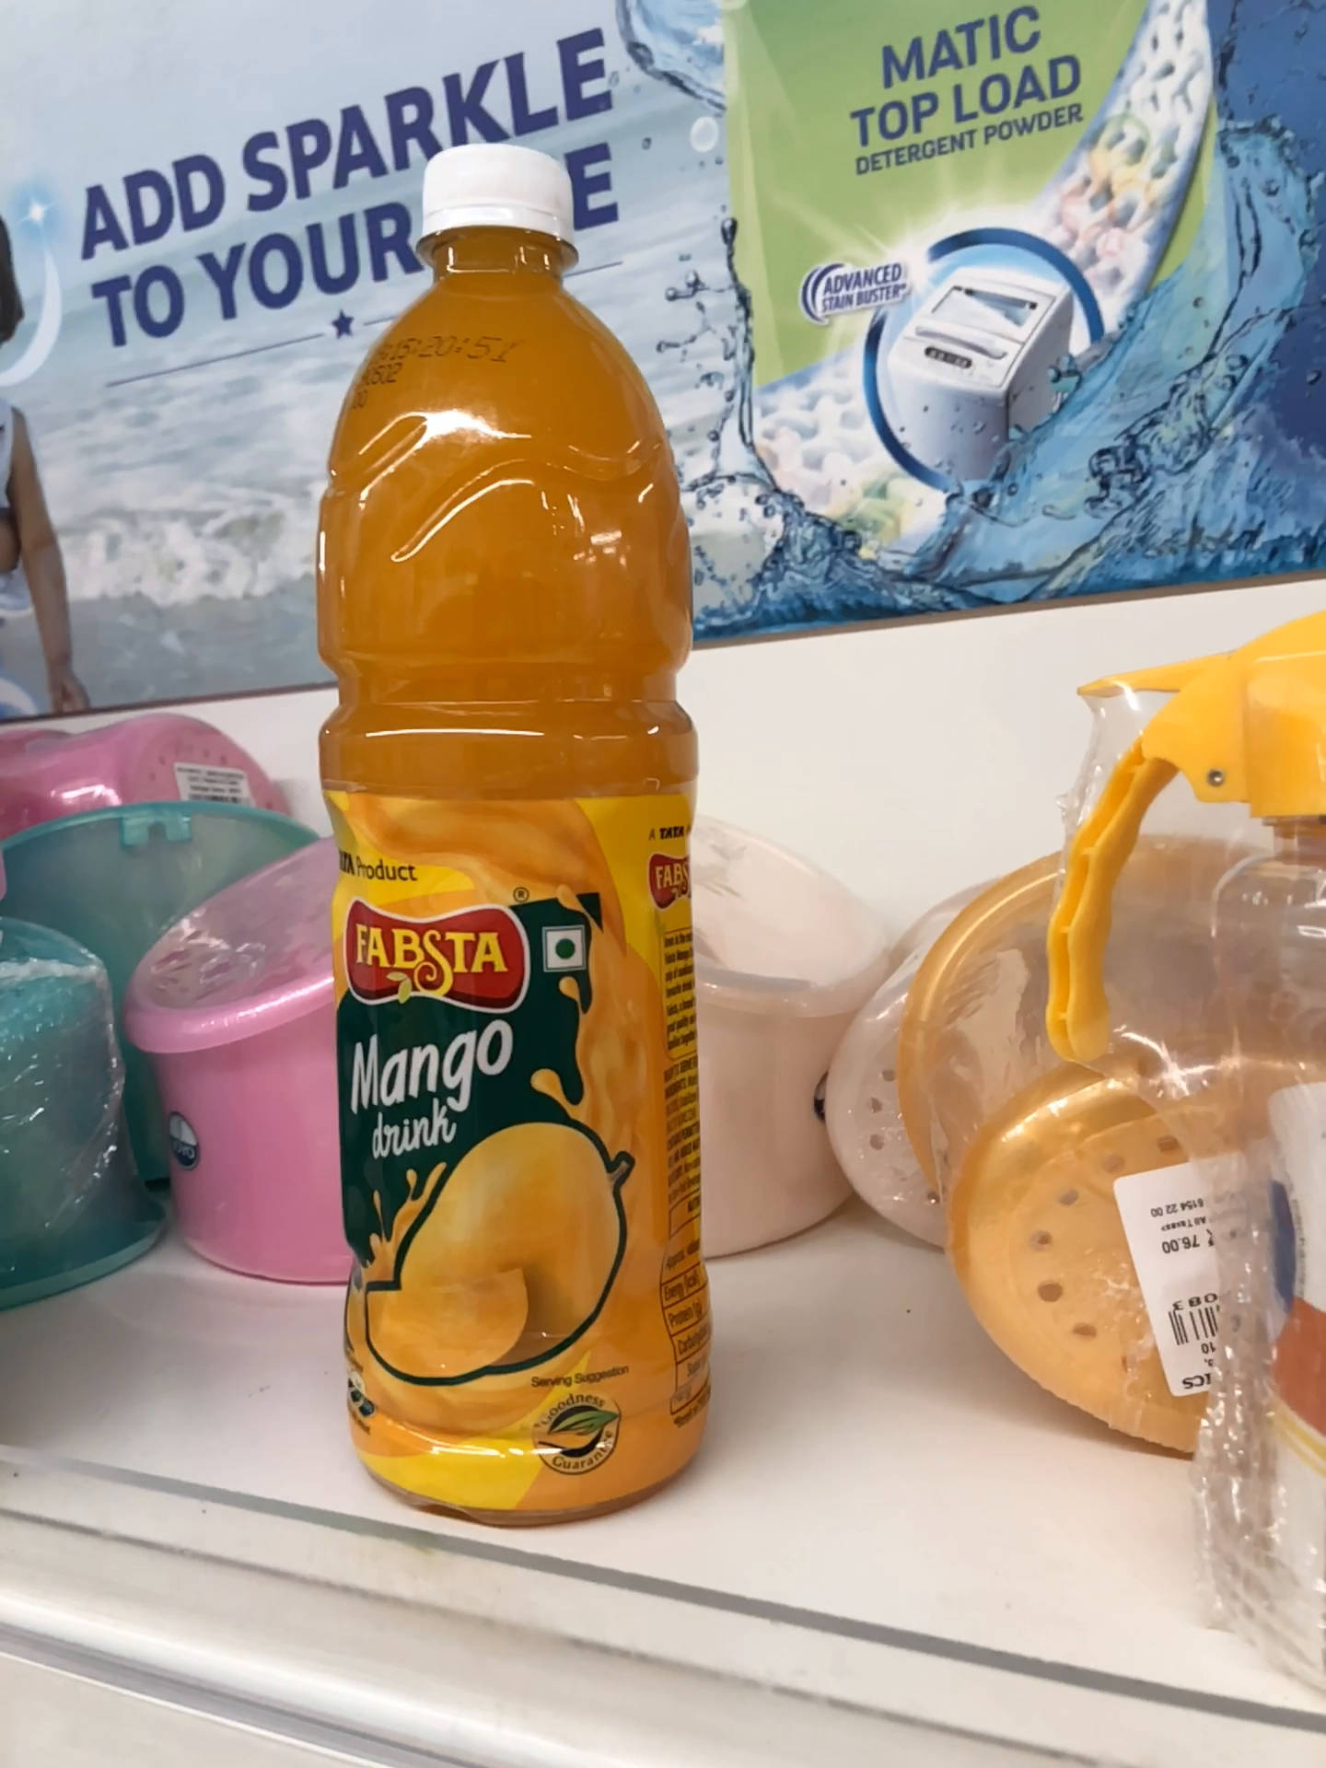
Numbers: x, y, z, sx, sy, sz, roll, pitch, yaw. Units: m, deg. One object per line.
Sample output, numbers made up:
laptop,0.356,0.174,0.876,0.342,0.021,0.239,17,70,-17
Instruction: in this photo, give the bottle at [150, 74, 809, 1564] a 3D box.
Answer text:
bottle,-0.032,-0.009,0.309,0.090,0.260,0.080,-2,5,22
